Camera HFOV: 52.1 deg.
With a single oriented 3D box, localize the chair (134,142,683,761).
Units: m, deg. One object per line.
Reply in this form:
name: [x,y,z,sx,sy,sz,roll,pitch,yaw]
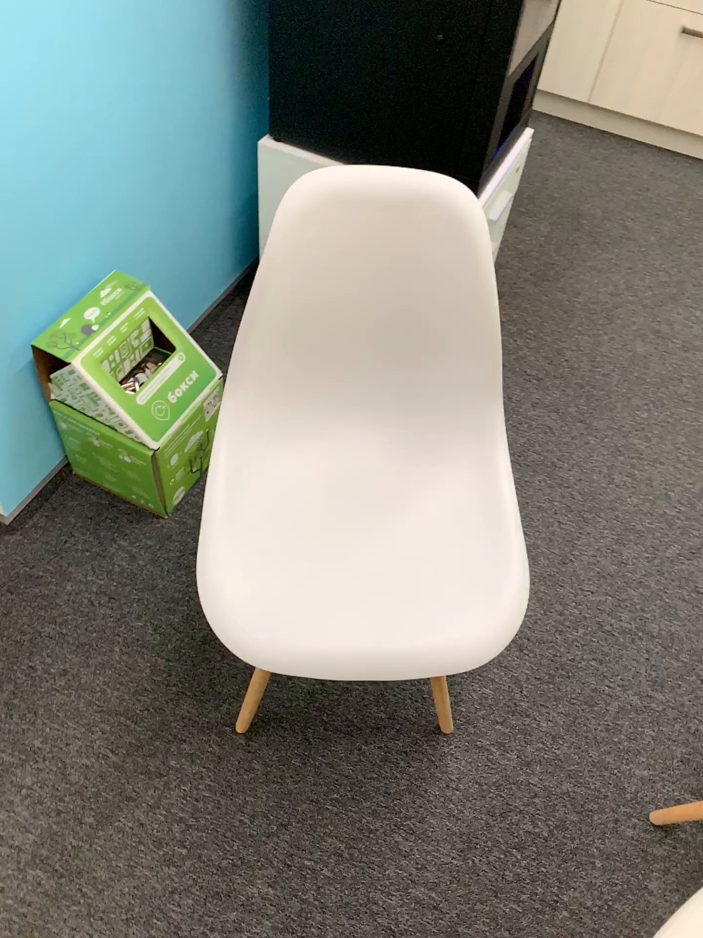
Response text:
chair: [0.016,0.053,1.072,0.460,0.816,0.502,2,52,-4]
